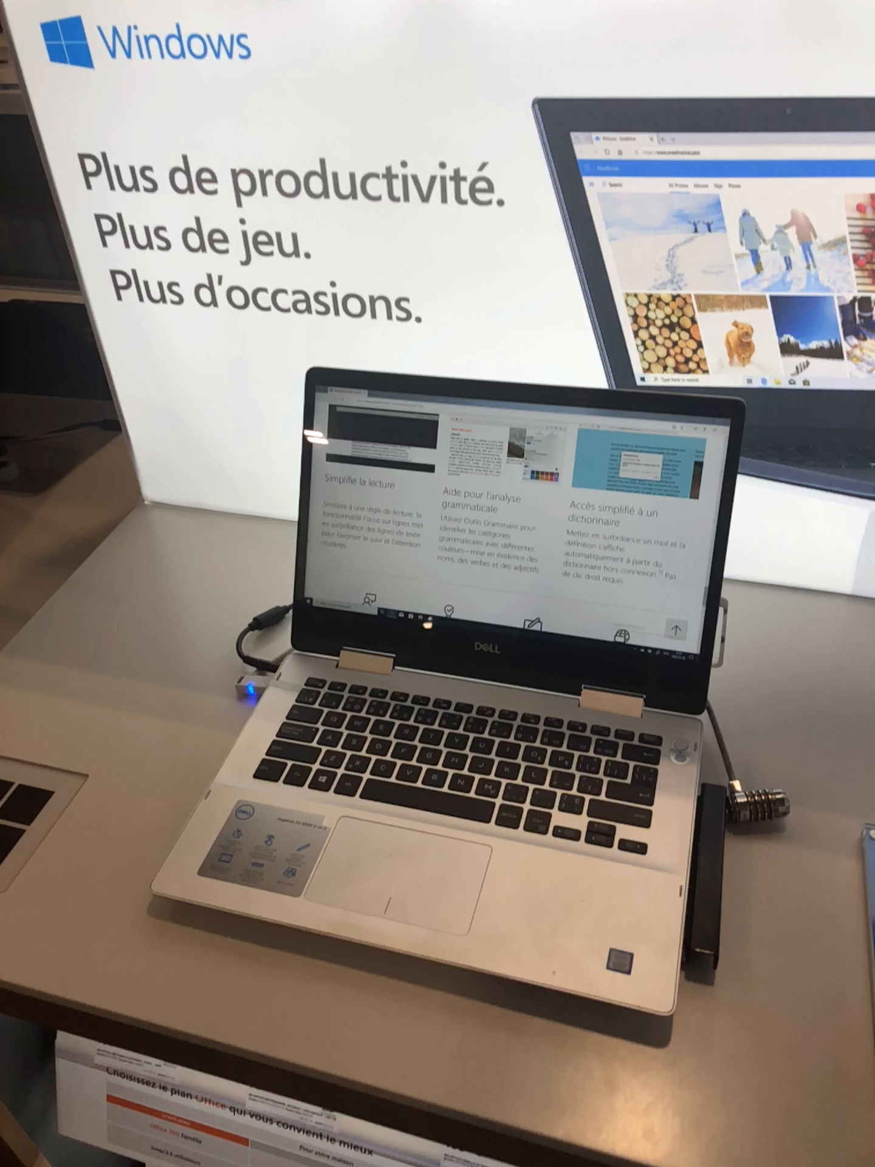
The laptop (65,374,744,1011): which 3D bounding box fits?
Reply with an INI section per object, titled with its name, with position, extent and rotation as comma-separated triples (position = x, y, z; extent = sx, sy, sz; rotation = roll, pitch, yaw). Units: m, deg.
[laptop]
position = 0.015, 0.035, 0.630
extent = 0.316, 0.193, 0.338
rotation = 7, 39, 15
